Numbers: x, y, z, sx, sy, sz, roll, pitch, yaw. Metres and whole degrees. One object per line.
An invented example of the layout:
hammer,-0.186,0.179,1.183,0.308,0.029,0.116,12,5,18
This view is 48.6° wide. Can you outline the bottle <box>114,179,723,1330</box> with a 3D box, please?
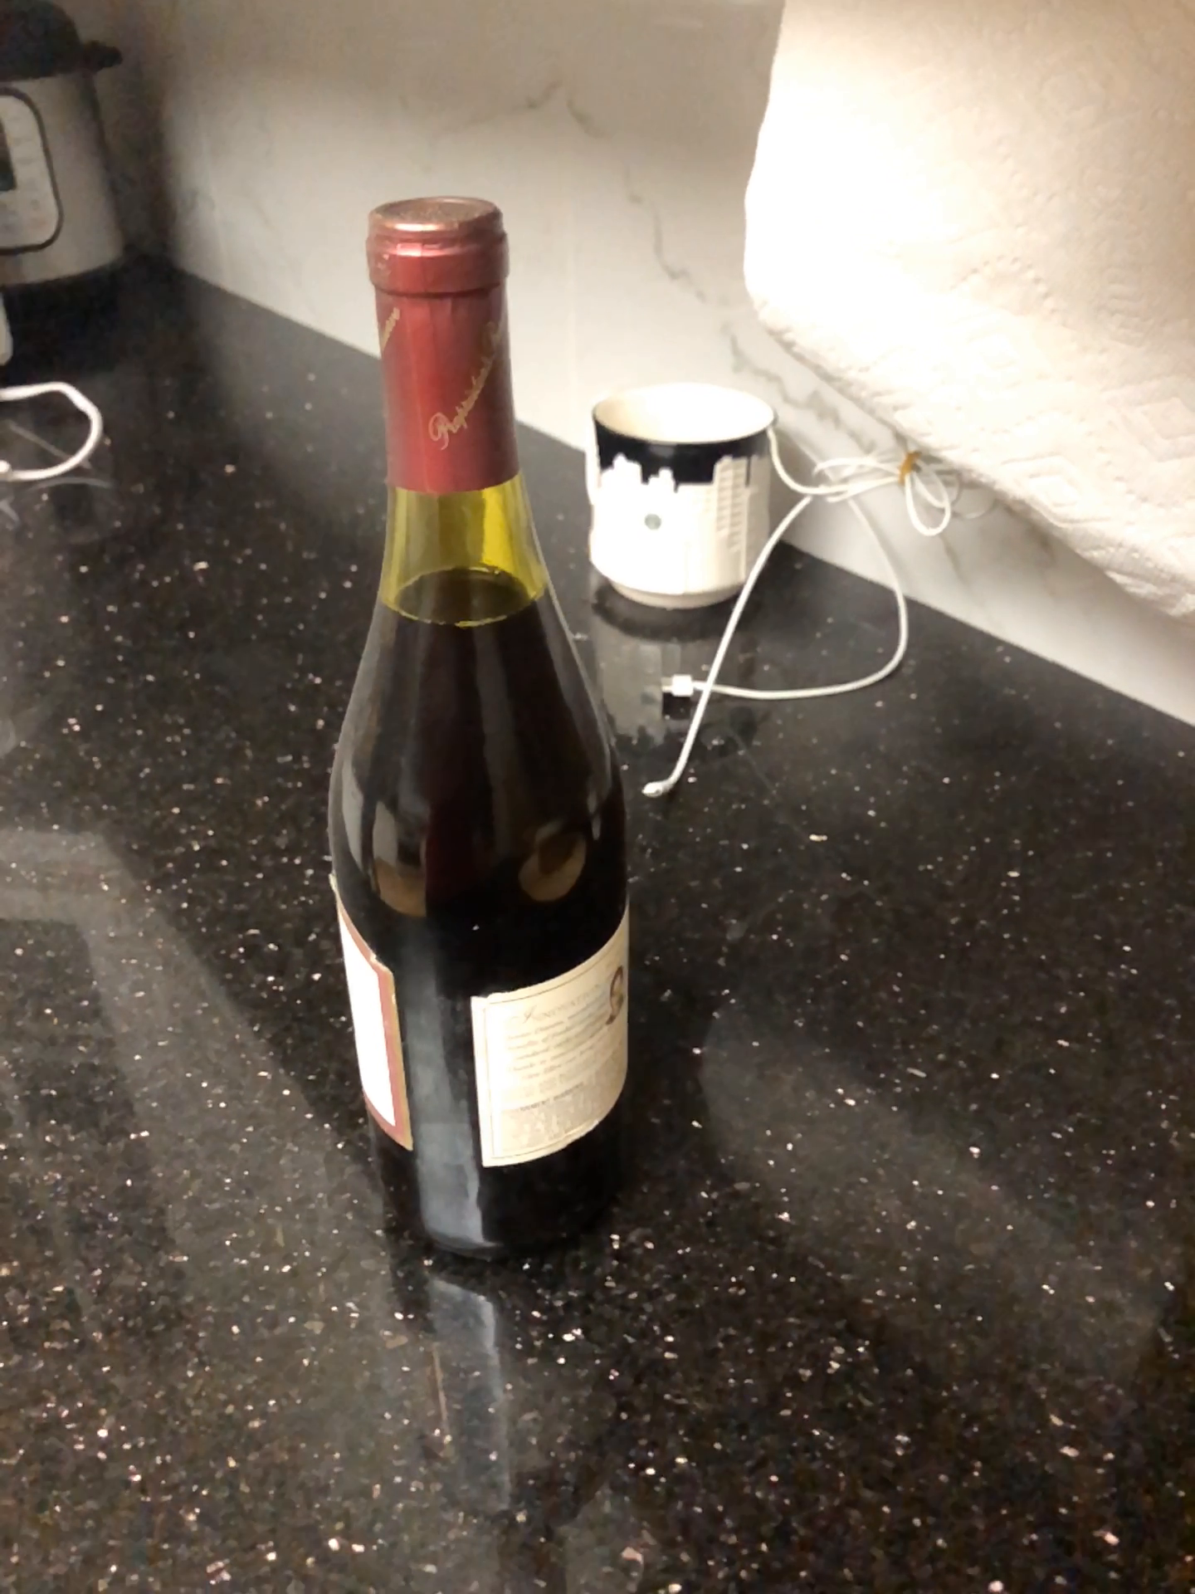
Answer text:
bottle,-0.034,0.001,0.357,0.090,0.288,0.090,0,34,0
